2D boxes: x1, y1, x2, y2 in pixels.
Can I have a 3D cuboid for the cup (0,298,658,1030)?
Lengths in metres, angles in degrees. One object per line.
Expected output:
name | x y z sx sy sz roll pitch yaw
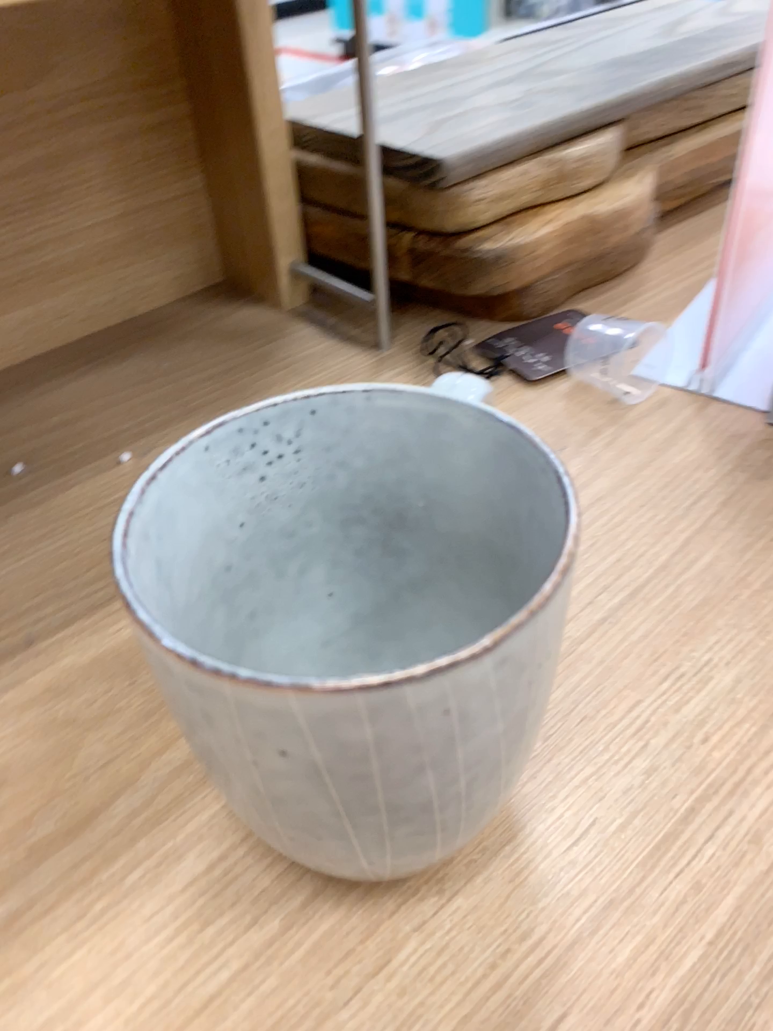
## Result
cup | -0.002 0.028 0.198 0.107 0.098 0.136 10 43 14
